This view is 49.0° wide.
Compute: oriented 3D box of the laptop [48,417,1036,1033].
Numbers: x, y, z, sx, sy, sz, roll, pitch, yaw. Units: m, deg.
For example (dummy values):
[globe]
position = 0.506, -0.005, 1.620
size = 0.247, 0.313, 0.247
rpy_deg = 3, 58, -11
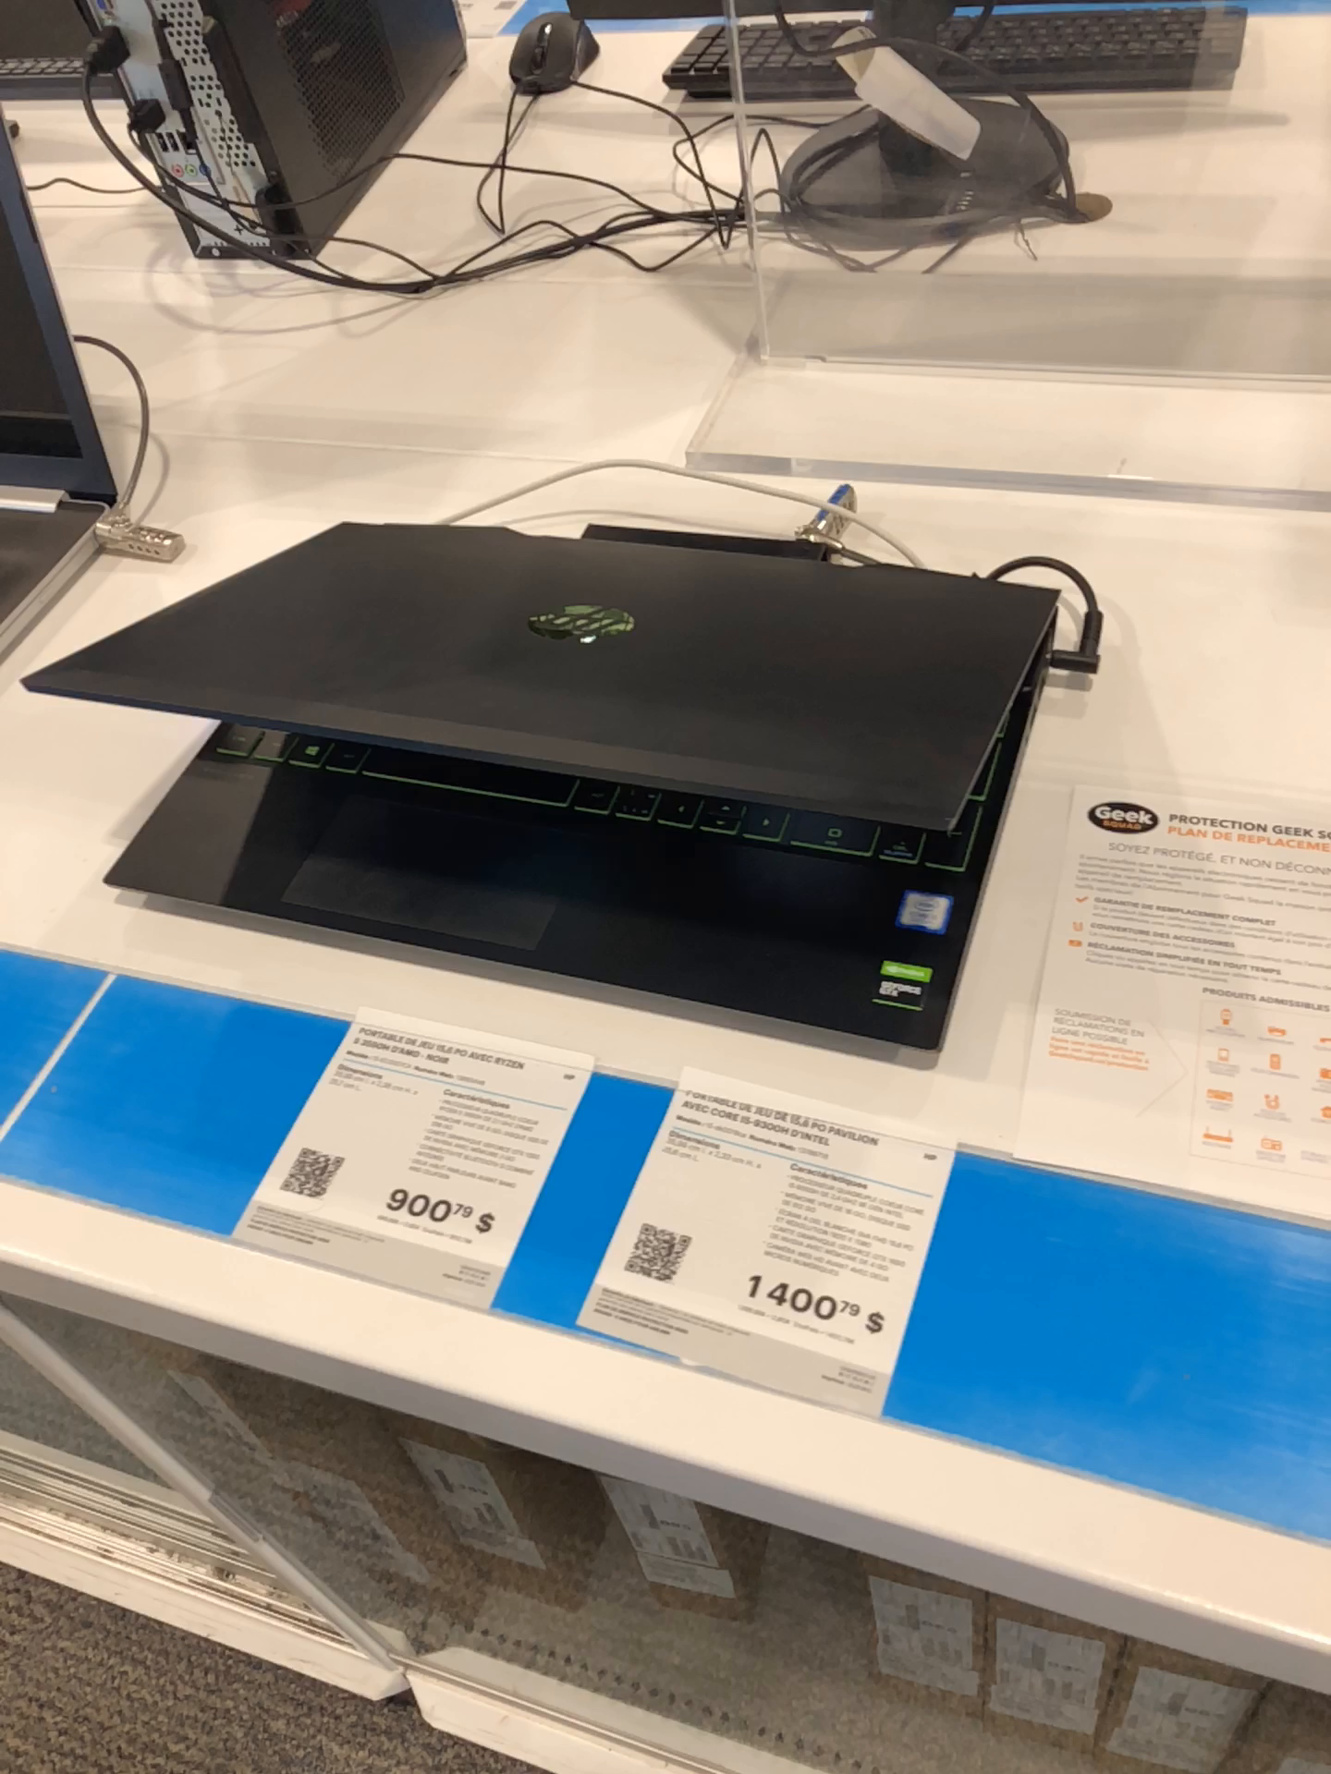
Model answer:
[laptop]
position = -0.042, -0.084, 0.597
size = 0.339, 0.064, 0.222
rpy_deg = 9, 57, 18
